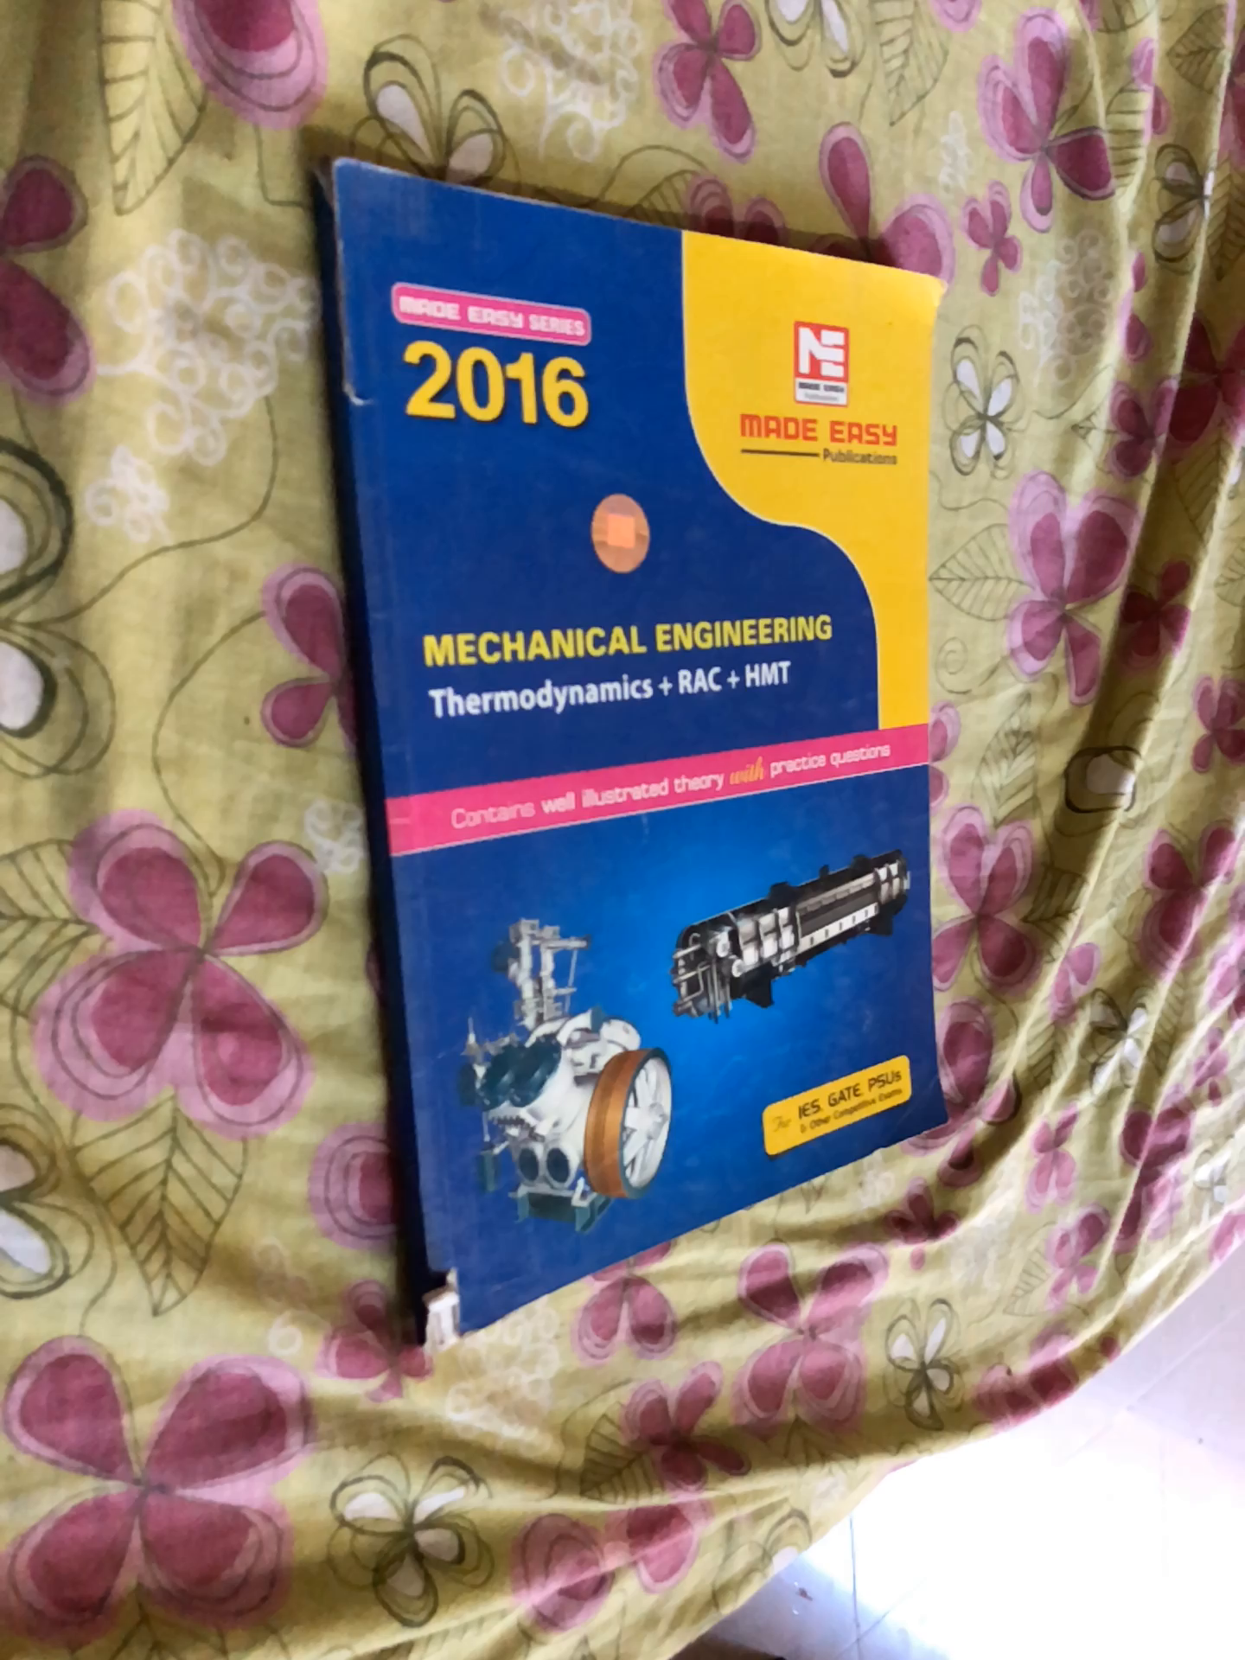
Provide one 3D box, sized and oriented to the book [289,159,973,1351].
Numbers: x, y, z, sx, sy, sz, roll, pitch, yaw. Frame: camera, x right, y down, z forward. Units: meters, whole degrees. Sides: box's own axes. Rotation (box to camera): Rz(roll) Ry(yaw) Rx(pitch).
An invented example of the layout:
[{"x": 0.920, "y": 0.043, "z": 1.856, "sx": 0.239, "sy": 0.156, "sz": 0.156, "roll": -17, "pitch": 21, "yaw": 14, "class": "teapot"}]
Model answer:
[{"x": 0.020, "y": -0.022, "z": 0.381, "sx": 0.201, "sy": 0.030, "sz": 0.270, "roll": -10, "pitch": 101, "yaw": -37, "class": "book"}]
